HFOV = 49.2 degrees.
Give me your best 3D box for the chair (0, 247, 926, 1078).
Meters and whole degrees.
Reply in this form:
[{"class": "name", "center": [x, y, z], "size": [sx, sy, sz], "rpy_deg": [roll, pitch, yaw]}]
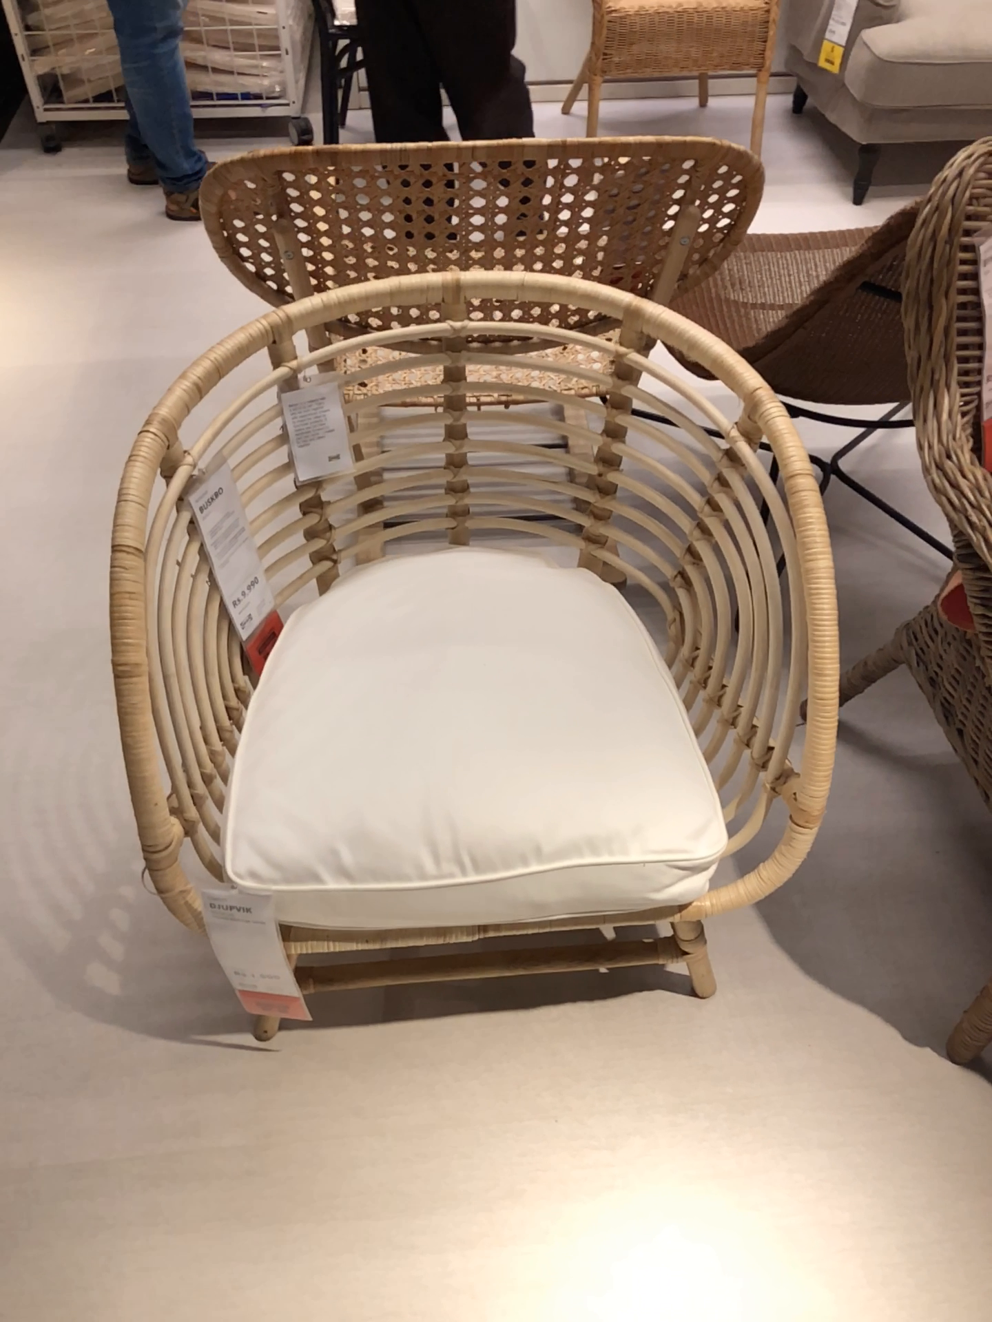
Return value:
[{"class": "chair", "center": [-0.052, 0.011, 1.411], "size": [0.780, 0.775, 0.704], "rpy_deg": [-3, 47, -2]}]
